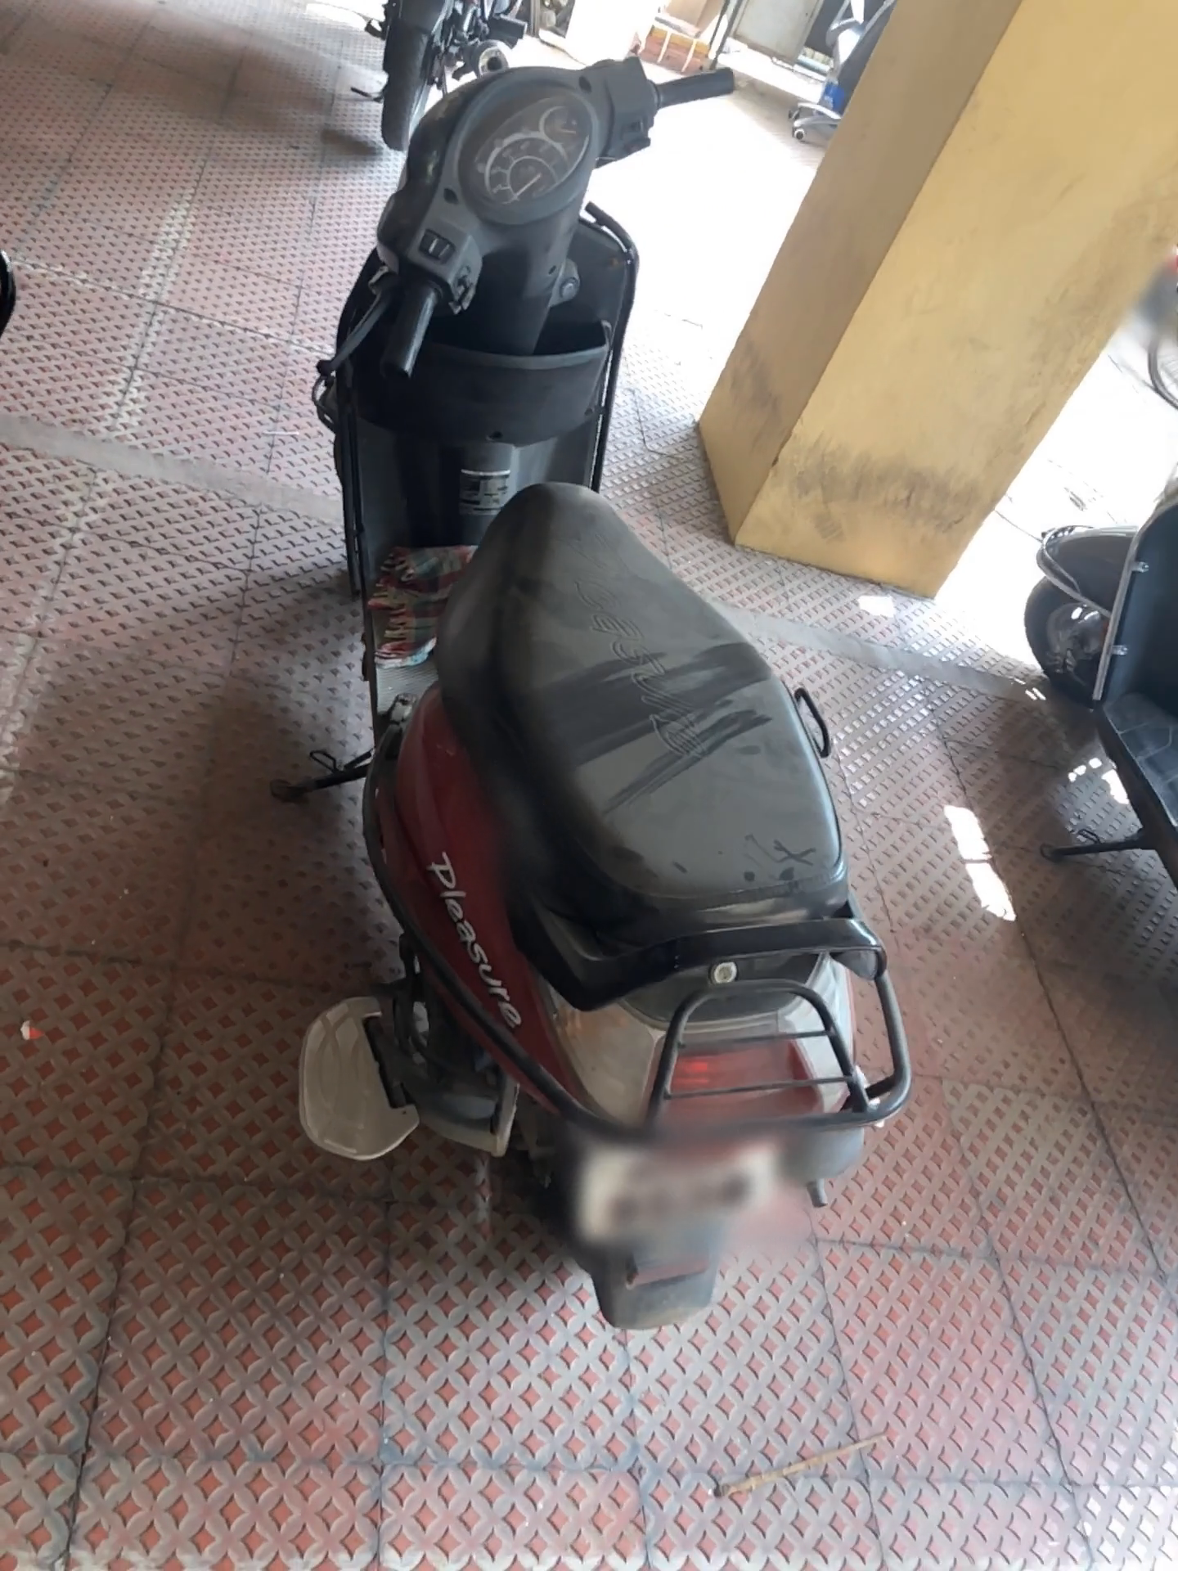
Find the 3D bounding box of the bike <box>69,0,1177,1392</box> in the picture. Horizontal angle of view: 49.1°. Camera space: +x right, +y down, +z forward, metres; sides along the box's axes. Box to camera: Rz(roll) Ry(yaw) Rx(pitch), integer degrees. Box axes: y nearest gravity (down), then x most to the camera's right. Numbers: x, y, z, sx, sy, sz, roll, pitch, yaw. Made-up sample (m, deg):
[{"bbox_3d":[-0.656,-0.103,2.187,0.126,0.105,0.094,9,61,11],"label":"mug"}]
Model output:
[{"bbox_3d":[-0.206,-0.315,1.629,0.601,1.030,1.656,0,46,-29],"label":"bike"}]
